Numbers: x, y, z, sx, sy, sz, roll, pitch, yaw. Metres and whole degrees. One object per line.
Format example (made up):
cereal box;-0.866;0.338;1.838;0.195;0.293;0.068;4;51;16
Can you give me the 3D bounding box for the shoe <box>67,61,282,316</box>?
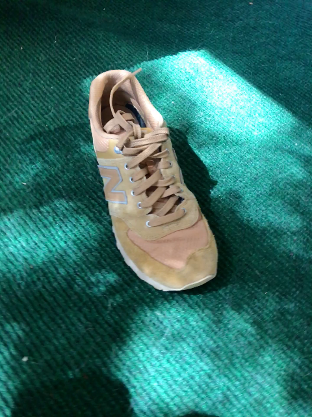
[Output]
shoe;0.002;-0.034;0.387;0.110;0.099;0.261;-21;64;-18
